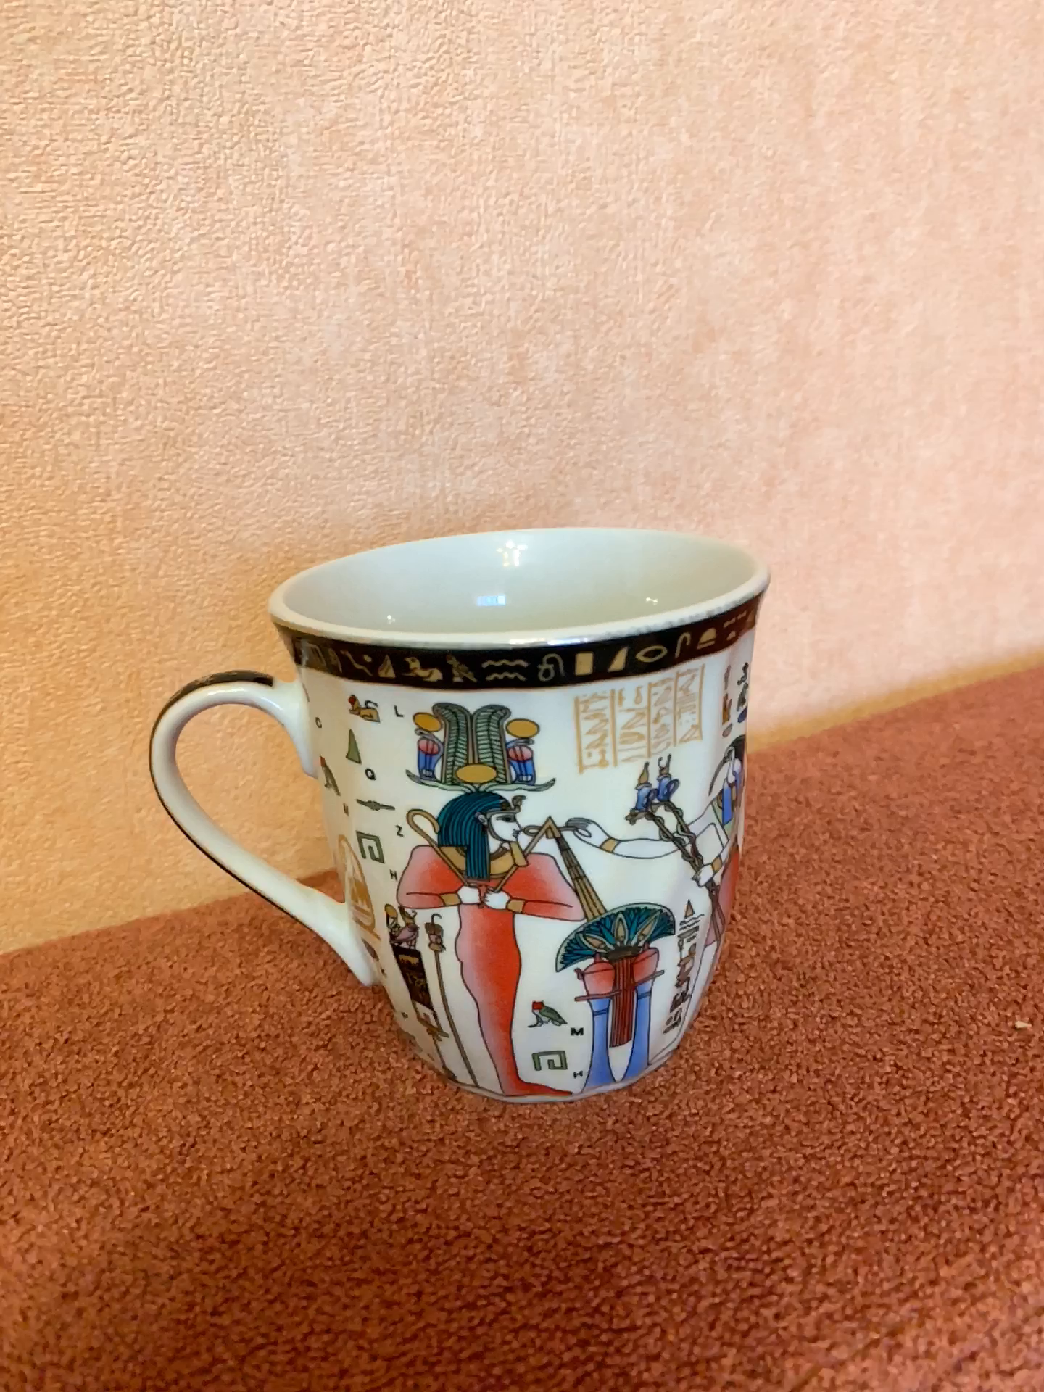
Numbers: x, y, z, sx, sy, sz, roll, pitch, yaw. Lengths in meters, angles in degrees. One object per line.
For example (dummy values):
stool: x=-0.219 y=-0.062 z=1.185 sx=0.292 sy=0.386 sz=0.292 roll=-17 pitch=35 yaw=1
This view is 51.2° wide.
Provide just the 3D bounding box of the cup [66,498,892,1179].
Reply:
cup: x=-0.006 y=0.018 z=0.207 sx=0.115 sy=0.087 sz=0.086 roll=-5 pitch=20 yaw=-4
